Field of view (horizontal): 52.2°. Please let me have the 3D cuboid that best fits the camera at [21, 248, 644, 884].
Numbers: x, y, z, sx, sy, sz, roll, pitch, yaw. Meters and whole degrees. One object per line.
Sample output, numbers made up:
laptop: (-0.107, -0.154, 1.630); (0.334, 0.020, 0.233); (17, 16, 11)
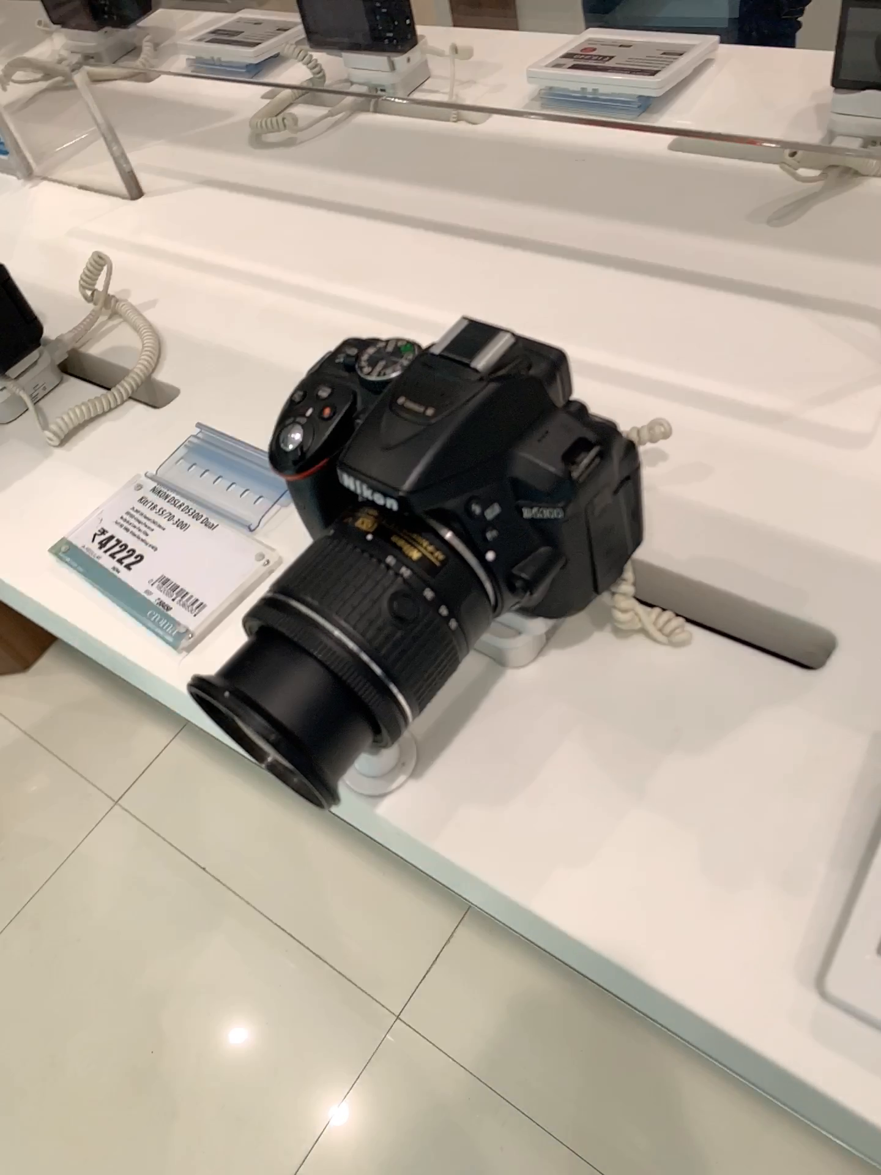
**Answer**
camera: (-0.021, -0.012, 0.291); (0.110, 0.110, 0.140); (28, 63, 31)
